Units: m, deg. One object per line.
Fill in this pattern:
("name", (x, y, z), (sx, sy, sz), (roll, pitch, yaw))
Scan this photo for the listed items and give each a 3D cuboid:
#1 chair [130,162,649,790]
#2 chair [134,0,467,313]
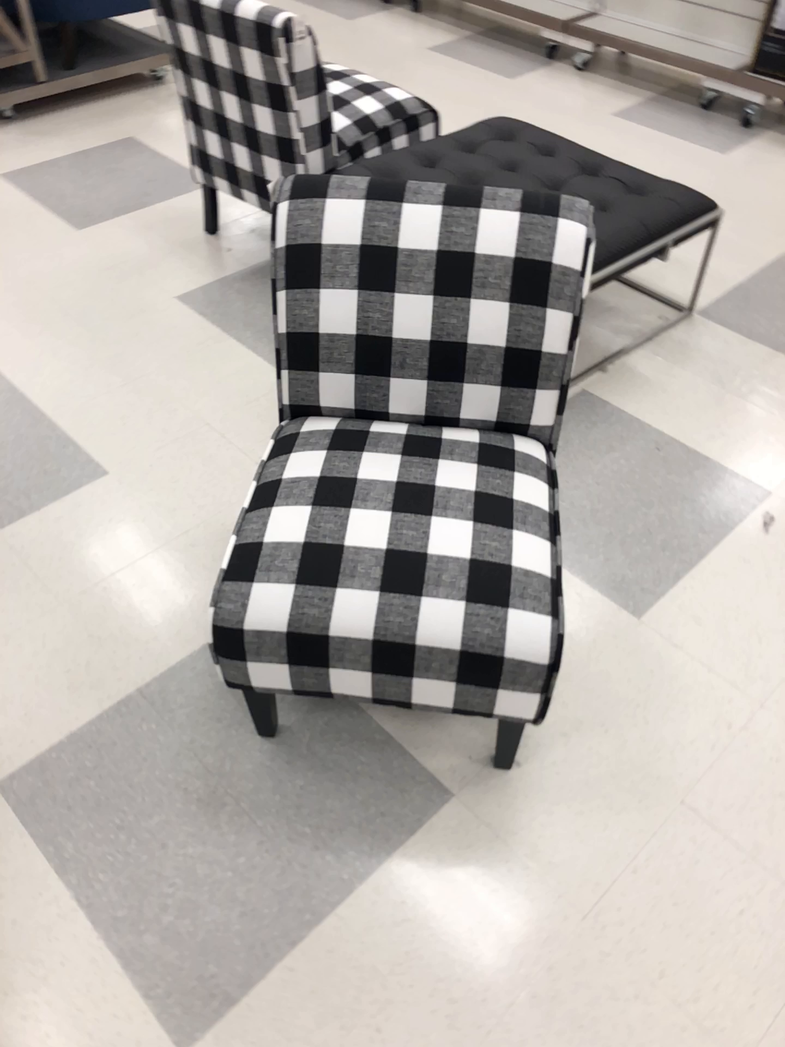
("chair", (0.025, -0.076, 1.560), (0.624, 0.833, 0.703), (6, 46, 4))
("chair", (-0.271, -1.304, 2.766), (0.731, 0.833, 0.626), (-34, 55, -30))
